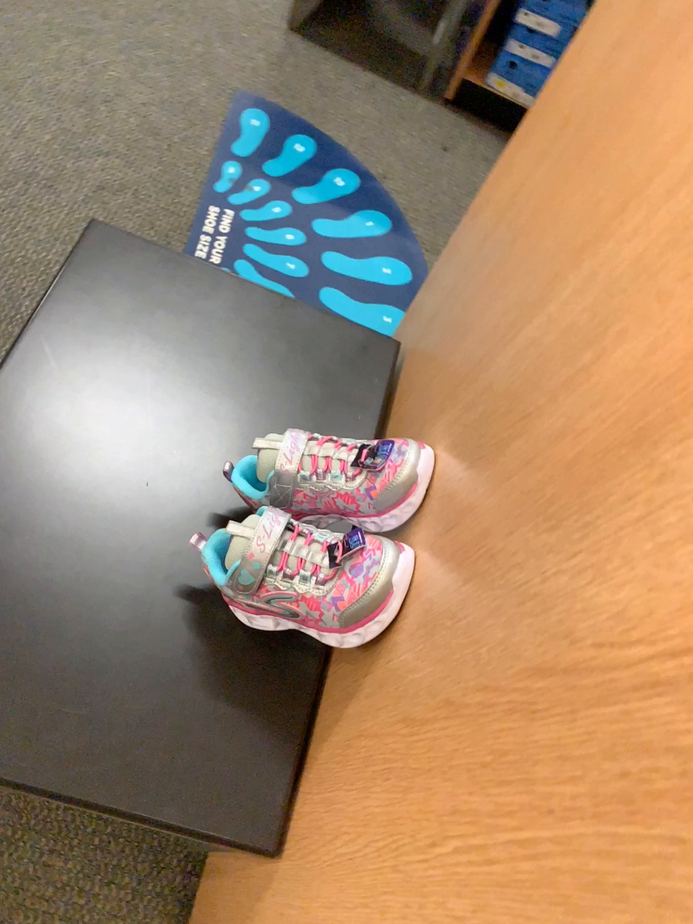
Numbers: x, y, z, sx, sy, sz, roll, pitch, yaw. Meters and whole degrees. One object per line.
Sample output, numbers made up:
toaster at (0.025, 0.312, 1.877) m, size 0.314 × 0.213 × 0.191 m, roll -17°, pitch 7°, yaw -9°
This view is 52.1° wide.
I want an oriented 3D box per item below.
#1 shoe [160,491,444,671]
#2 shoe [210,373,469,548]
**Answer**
shoe at (-0.034, 0.093, 0.555) m, size 0.100 × 0.180 × 0.090 m, roll 48°, pitch 49°, yaw -40°
shoe at (-0.005, 0.006, 0.602) m, size 0.100 × 0.180 × 0.090 m, roll 45°, pitch 48°, yaw -42°
